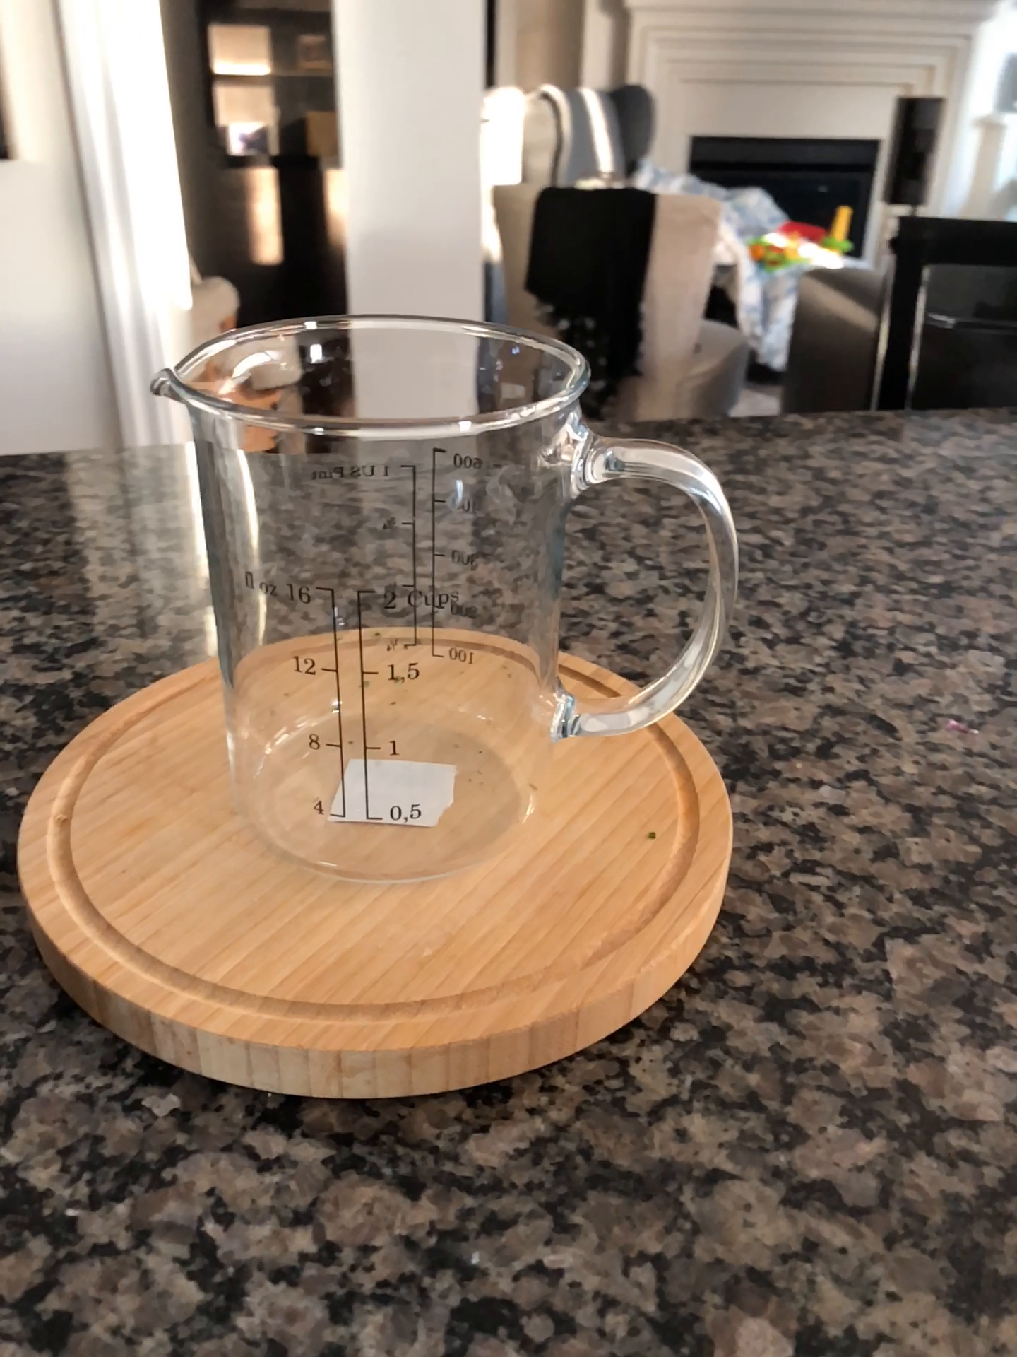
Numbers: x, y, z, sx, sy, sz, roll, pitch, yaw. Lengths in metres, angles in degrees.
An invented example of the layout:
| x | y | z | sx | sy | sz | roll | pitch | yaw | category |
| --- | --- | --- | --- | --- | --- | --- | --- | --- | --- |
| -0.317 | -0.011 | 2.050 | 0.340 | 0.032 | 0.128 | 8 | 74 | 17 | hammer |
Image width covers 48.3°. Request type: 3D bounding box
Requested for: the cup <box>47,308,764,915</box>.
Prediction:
| x | y | z | sx | sy | sz | roll | pitch | yaw | category |
| --- | --- | --- | --- | --- | --- | --- | --- | --- | --- |
| -0.021 | -0.024 | 0.313 | 0.150 | 0.128 | 0.106 | 3 | 29 | 2 | cup |
